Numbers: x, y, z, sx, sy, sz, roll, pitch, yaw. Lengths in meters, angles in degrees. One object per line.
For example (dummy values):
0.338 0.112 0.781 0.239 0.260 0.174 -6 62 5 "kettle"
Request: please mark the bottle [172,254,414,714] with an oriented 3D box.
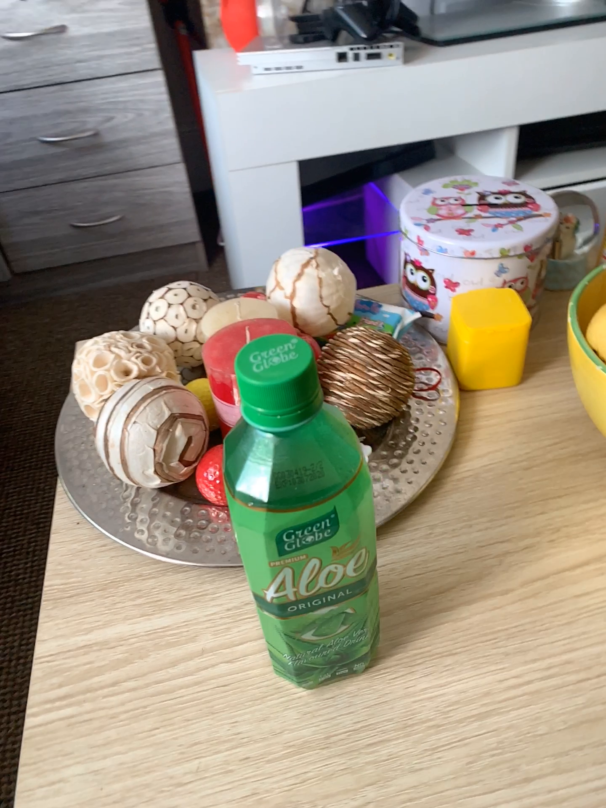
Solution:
0.002 0.052 0.290 0.070 0.218 0.071 -4 41 3 "bottle"
